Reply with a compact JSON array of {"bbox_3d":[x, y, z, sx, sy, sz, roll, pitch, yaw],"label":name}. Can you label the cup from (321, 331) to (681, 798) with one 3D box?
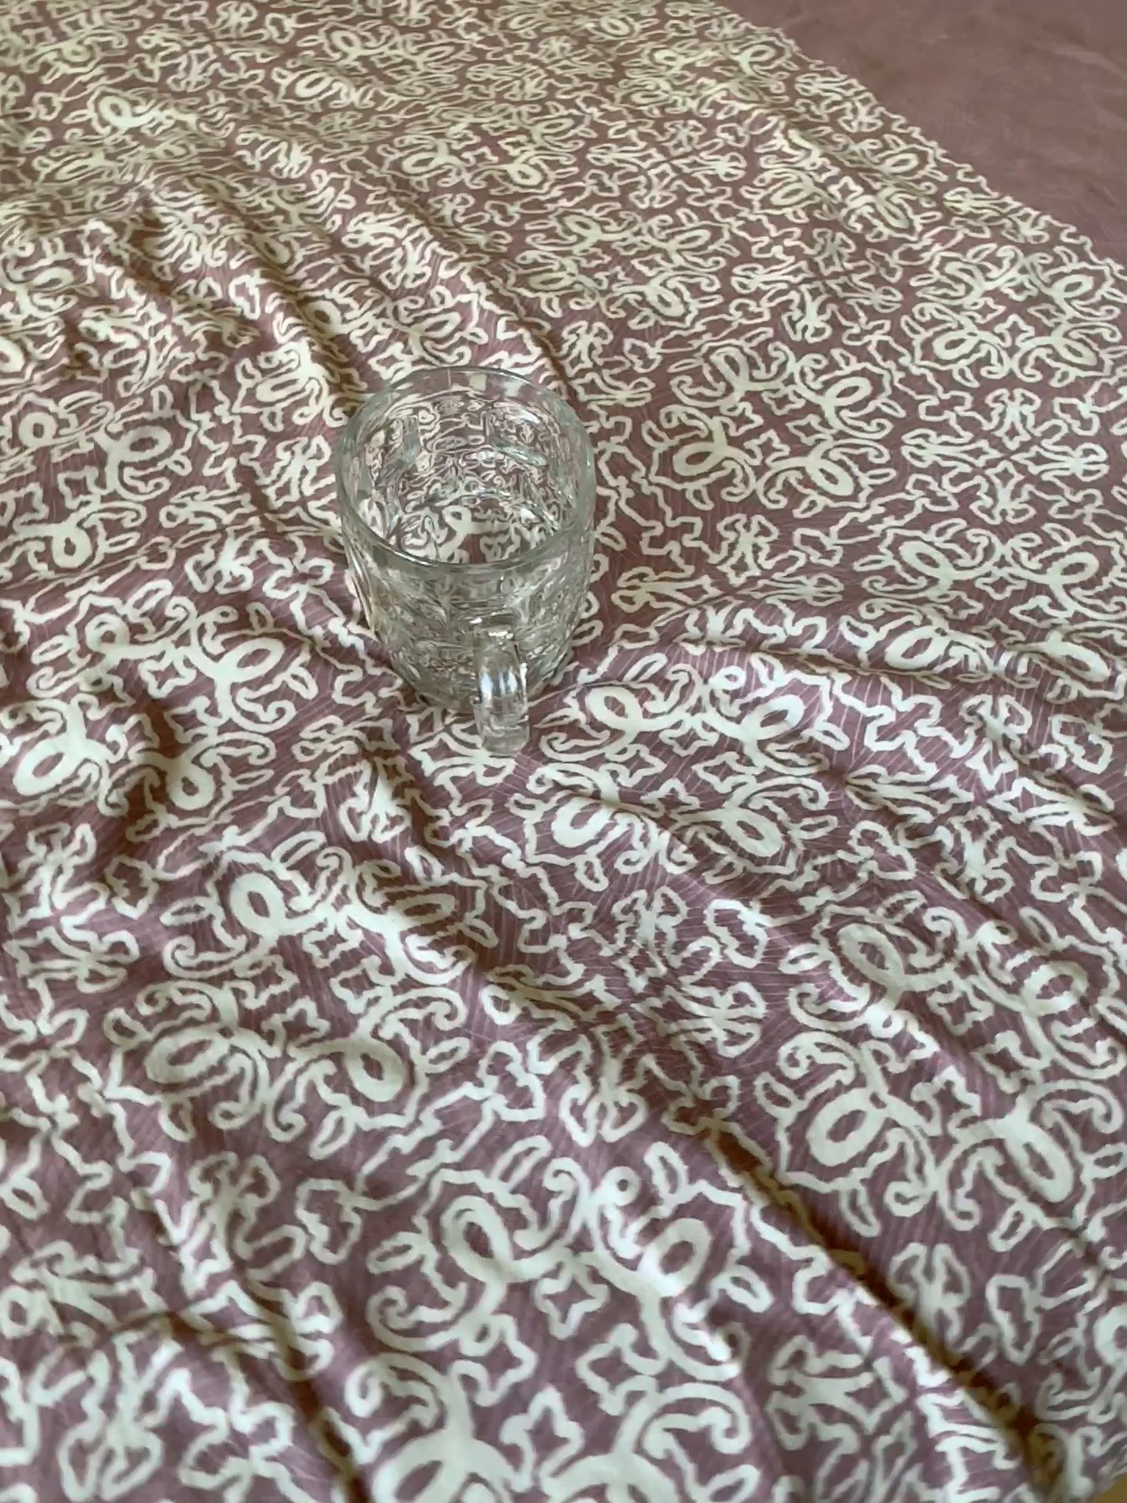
[{"bbox_3d":[-0.025,-0.067,0.425,0.093,0.099,0.118,-13,62,-9],"label":"cup"}]
